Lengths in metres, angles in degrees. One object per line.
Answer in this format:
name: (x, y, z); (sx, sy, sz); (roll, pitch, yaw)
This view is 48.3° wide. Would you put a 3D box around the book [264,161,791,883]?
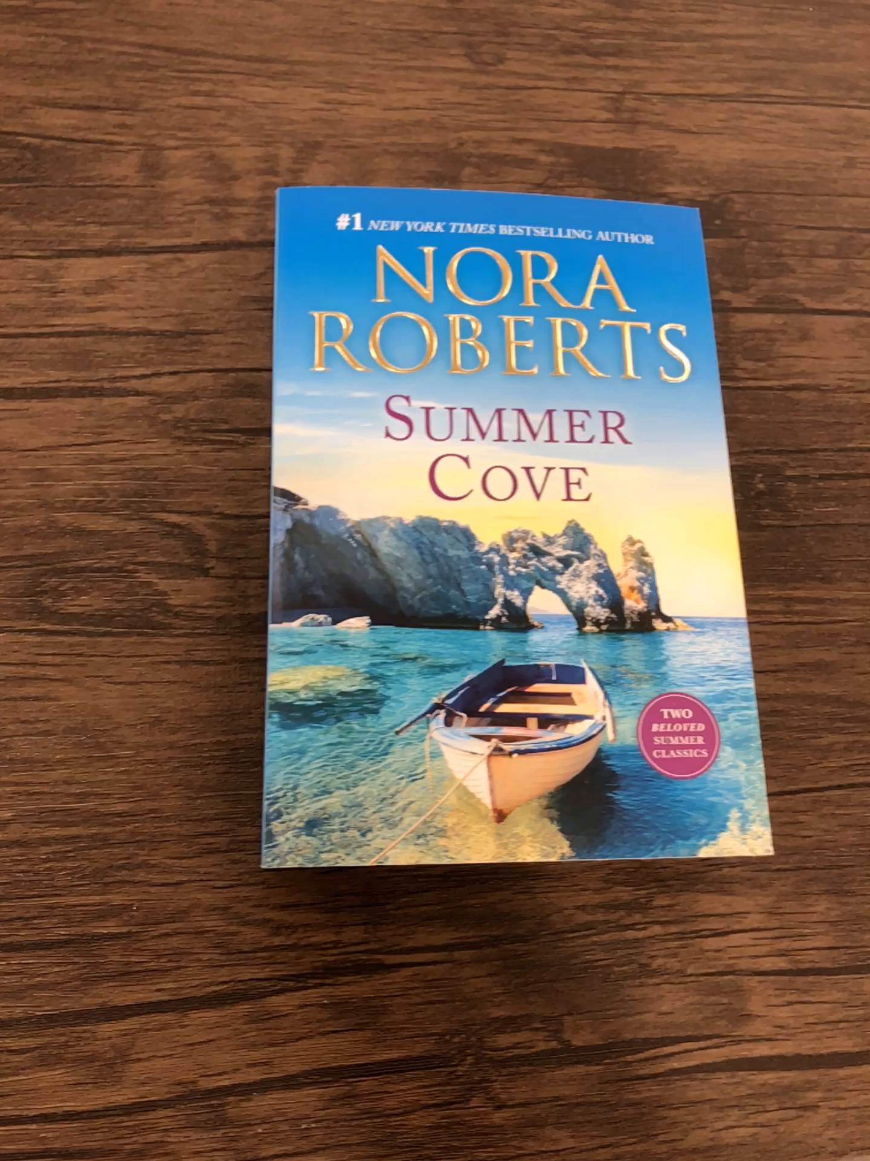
book: (0.020, -0.021, 0.299); (0.140, 0.043, 0.210); (0, 75, -9)
